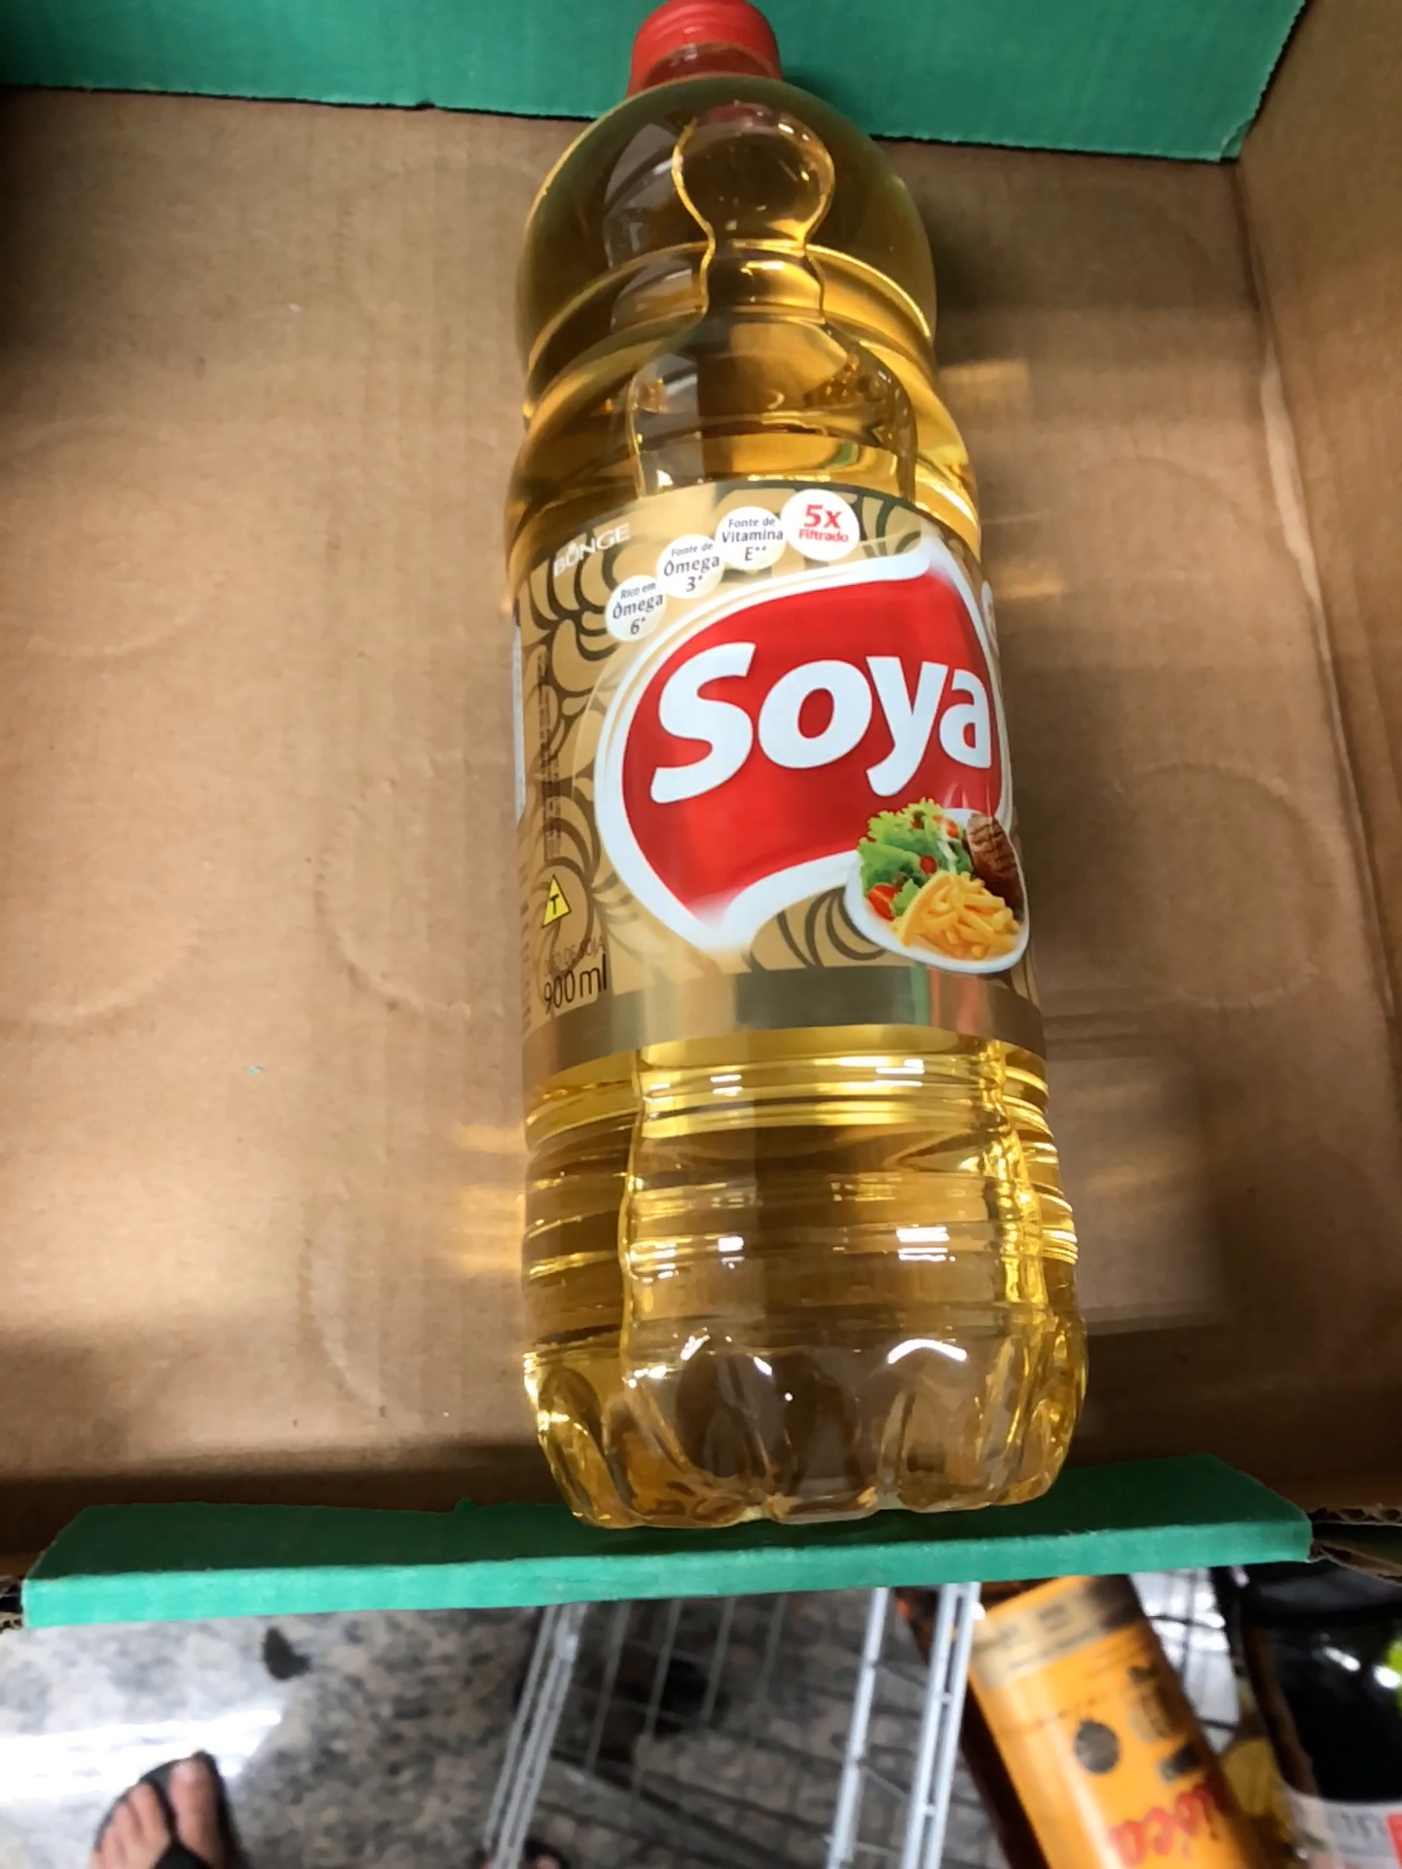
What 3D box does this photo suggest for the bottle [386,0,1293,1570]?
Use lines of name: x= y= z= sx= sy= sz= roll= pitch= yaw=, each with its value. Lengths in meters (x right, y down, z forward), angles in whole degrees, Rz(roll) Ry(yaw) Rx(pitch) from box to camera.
bottle: x=0.004 y=-0.037 z=0.205 sx=0.080 sy=0.070 sz=0.210 roll=-2 pitch=74 yaw=-10
